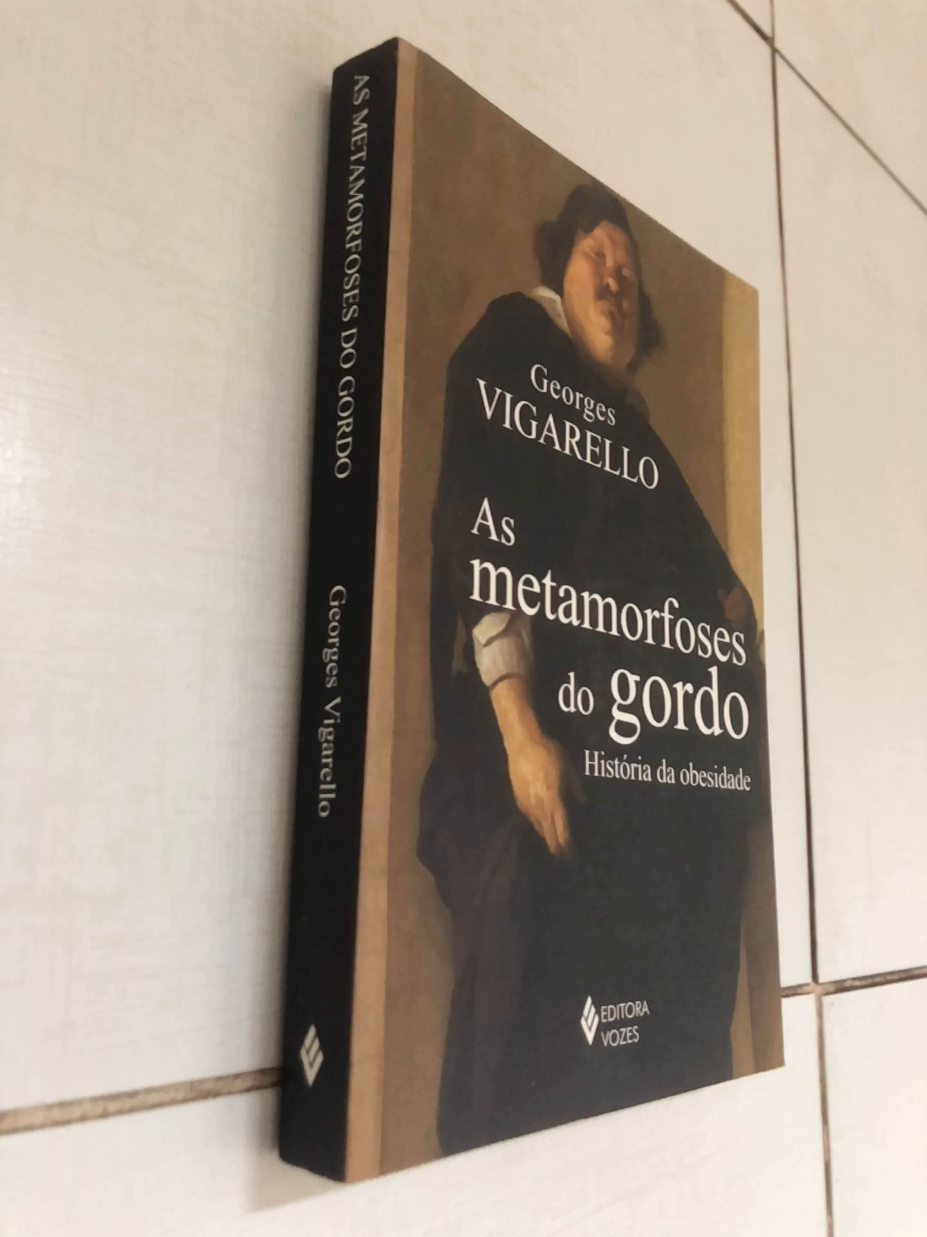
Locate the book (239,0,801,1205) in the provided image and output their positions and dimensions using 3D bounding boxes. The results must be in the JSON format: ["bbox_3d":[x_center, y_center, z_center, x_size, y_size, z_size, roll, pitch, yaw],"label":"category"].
[{"bbox_3d":[0.024,-0.003,0.224,0.138,0.023,0.204,12,75,-42],"label":"book"}]
